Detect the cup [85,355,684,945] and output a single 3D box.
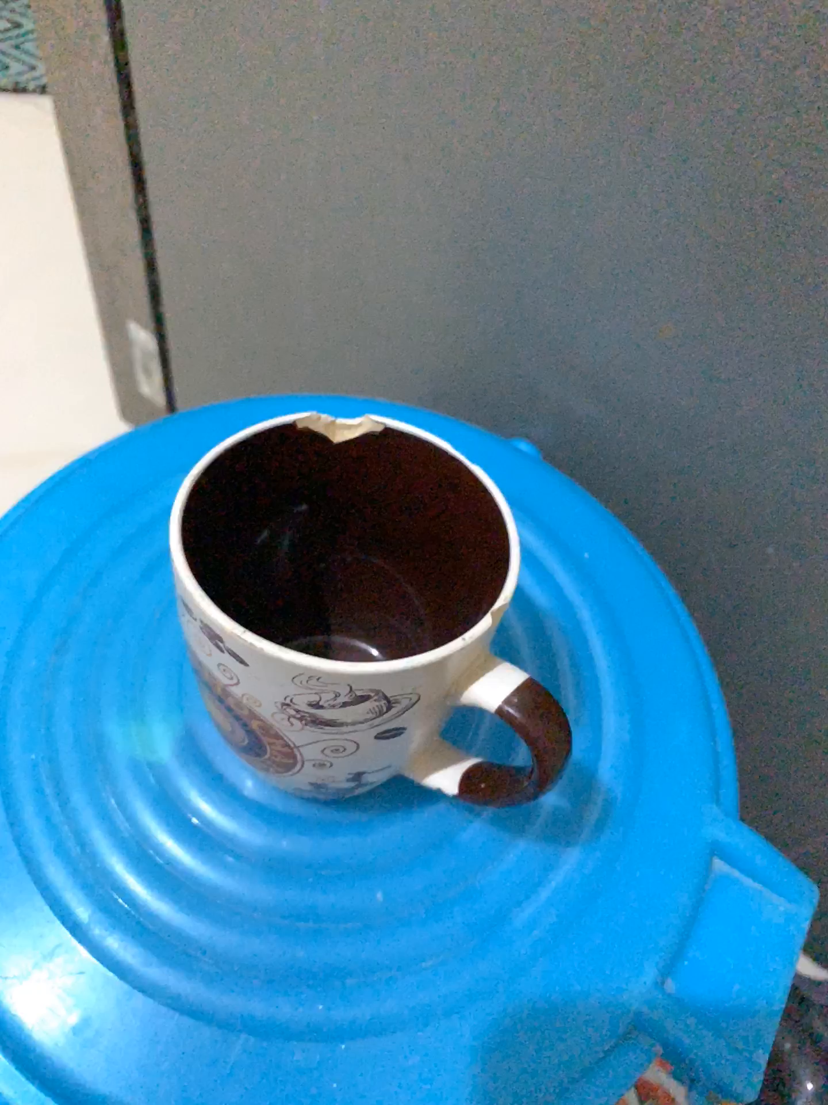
[{"bbox_3d":[-0.010,0.023,0.219,0.109,0.082,0.071,30,52,14],"label":"cup"}]
